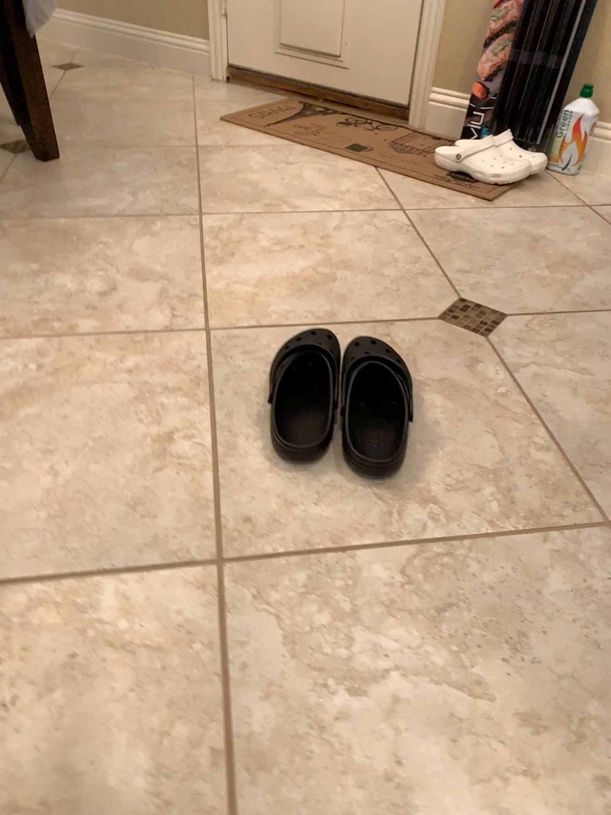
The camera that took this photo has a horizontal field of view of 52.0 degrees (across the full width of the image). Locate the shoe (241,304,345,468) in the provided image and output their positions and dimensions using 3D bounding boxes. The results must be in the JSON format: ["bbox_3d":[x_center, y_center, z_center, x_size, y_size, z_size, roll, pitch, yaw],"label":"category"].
[{"bbox_3d":[-0.011,-0.043,0.937,0.123,0.085,0.279,5,39,2],"label":"shoe"}]

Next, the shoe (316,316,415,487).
[{"bbox_3d":[0.094,-0.021,0.921,0.113,0.085,0.279,8,39,5],"label":"shoe"}]
